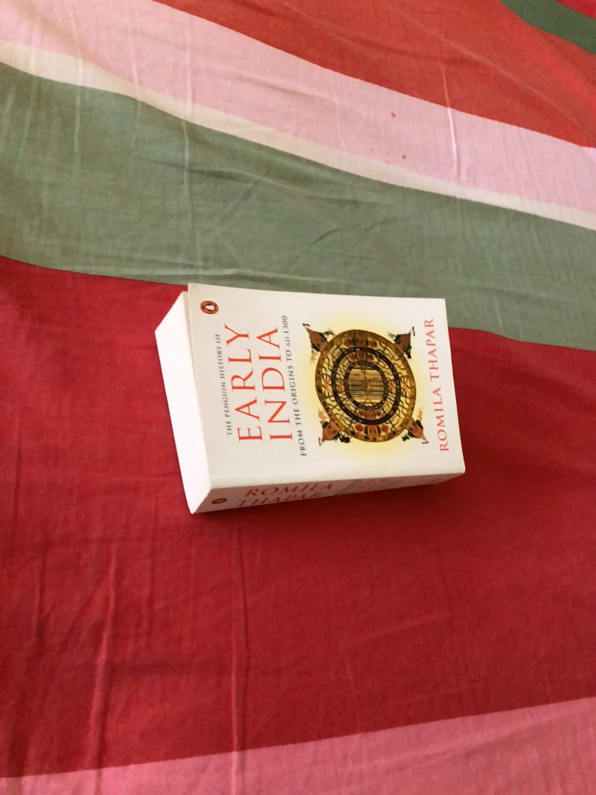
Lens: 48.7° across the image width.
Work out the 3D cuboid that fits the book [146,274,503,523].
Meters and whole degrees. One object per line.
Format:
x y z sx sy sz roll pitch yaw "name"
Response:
0.020 -0.001 0.423 0.201 0.070 0.120 -2 67 -35 "book"
